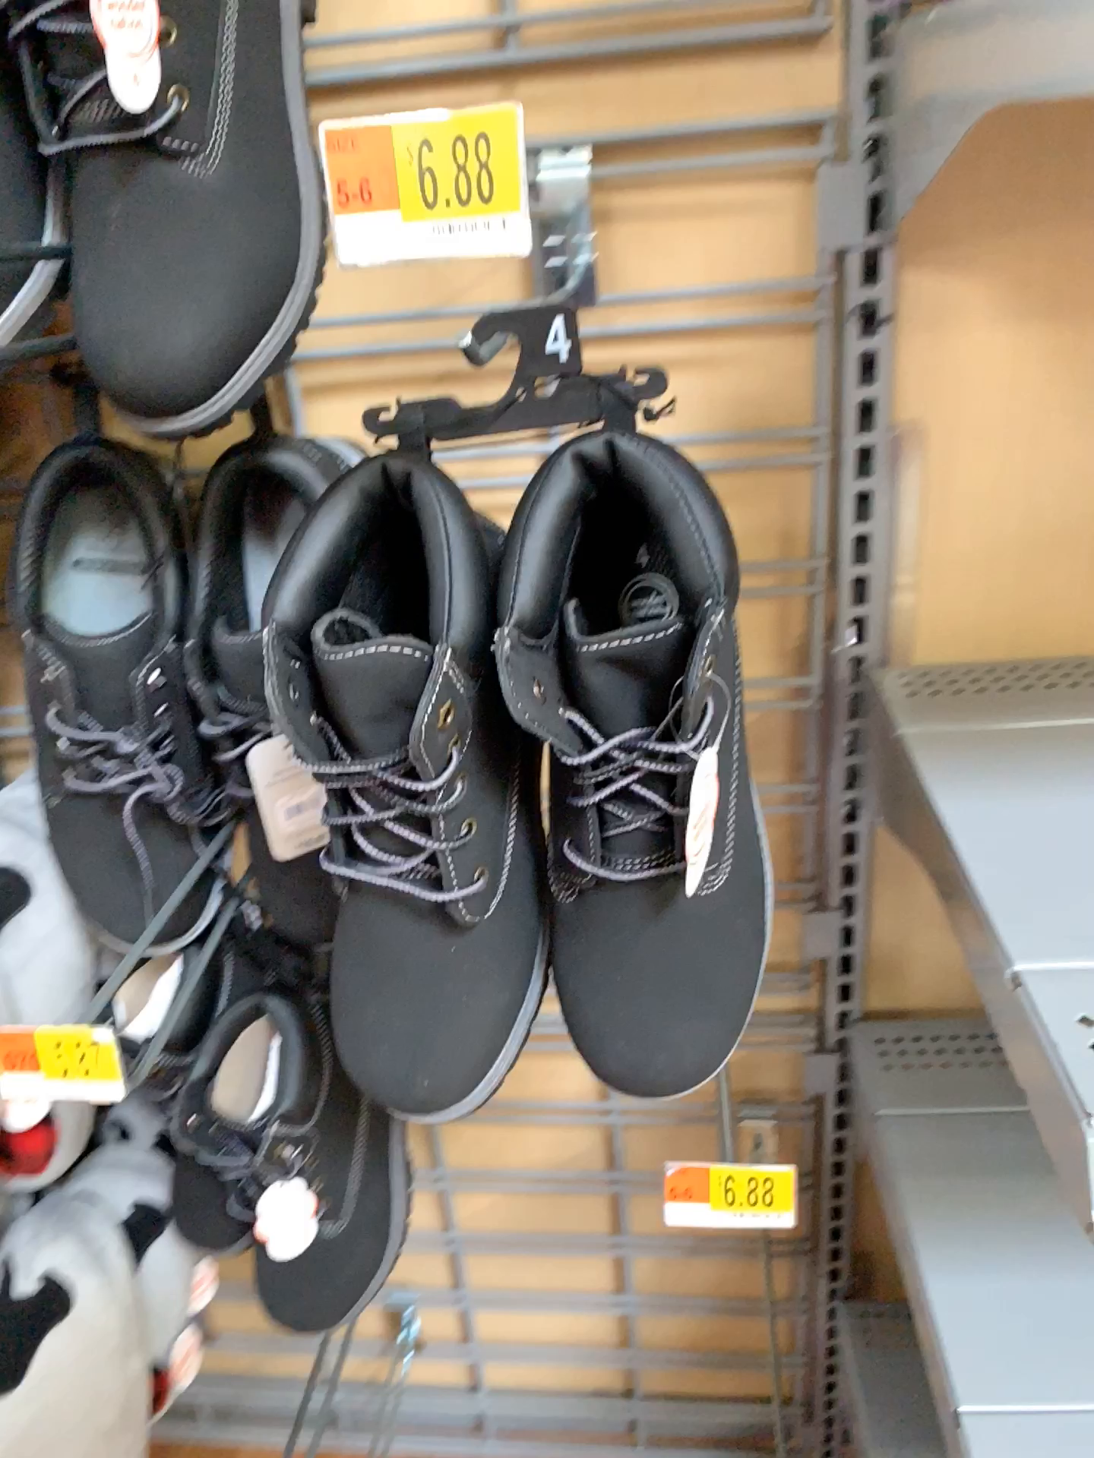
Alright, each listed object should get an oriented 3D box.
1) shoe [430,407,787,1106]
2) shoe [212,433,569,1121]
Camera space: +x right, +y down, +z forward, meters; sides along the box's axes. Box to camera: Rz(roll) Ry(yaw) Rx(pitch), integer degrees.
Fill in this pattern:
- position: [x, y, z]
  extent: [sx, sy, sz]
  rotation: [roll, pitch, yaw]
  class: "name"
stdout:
- position: [0.029, 0.004, 0.393]
  extent: [0.100, 0.206, 0.120]
  rotation: [-1, 8, 9]
  class: "shoe"
- position: [-0.049, 0.011, 0.428]
  extent: [0.100, 0.229, 0.110]
  rotation: [1, 9, 9]
  class: "shoe"
